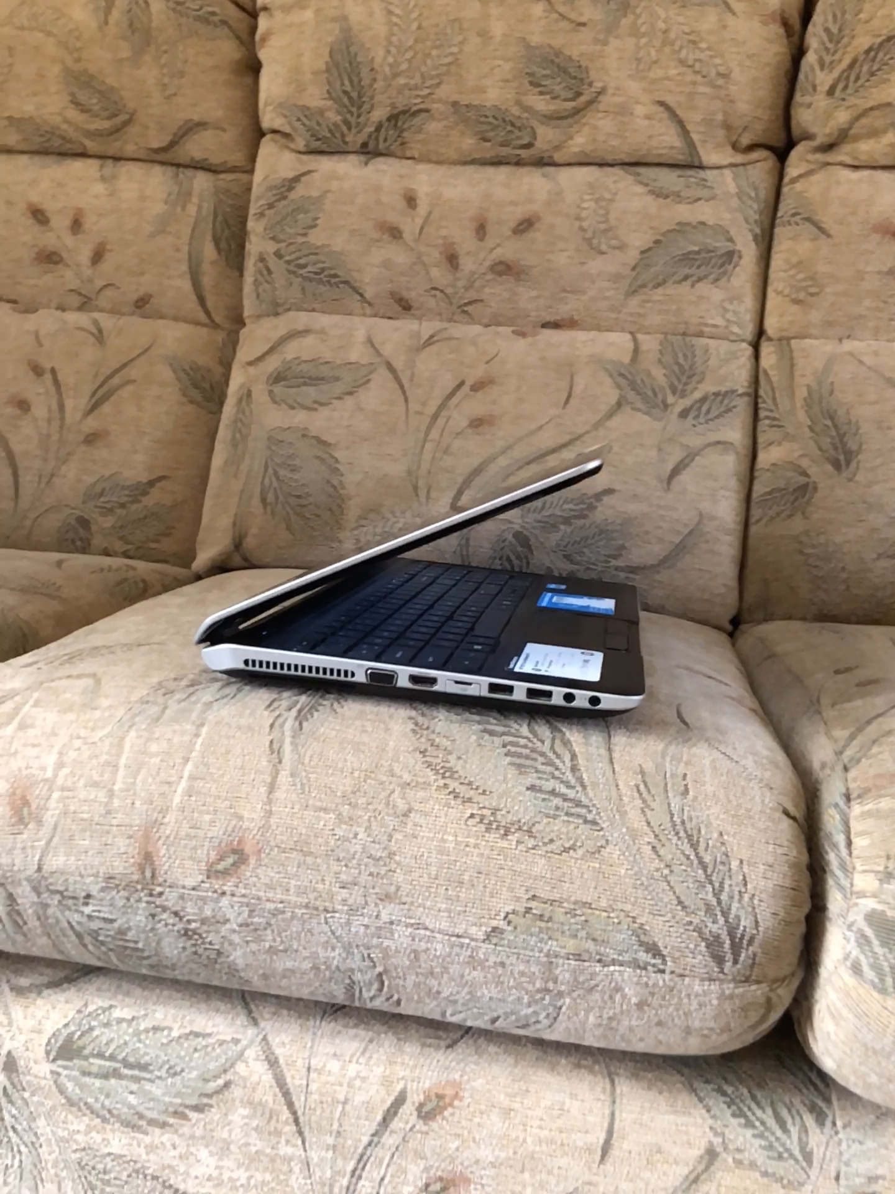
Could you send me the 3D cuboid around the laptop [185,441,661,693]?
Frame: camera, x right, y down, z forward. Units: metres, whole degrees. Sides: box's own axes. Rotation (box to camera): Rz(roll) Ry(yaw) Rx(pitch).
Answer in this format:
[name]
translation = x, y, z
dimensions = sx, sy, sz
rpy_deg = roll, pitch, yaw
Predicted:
[laptop]
translation = 0.017, -0.046, 0.729
dimensions = 0.253, 0.114, 0.397
rpy_deg = 5, 11, 9
